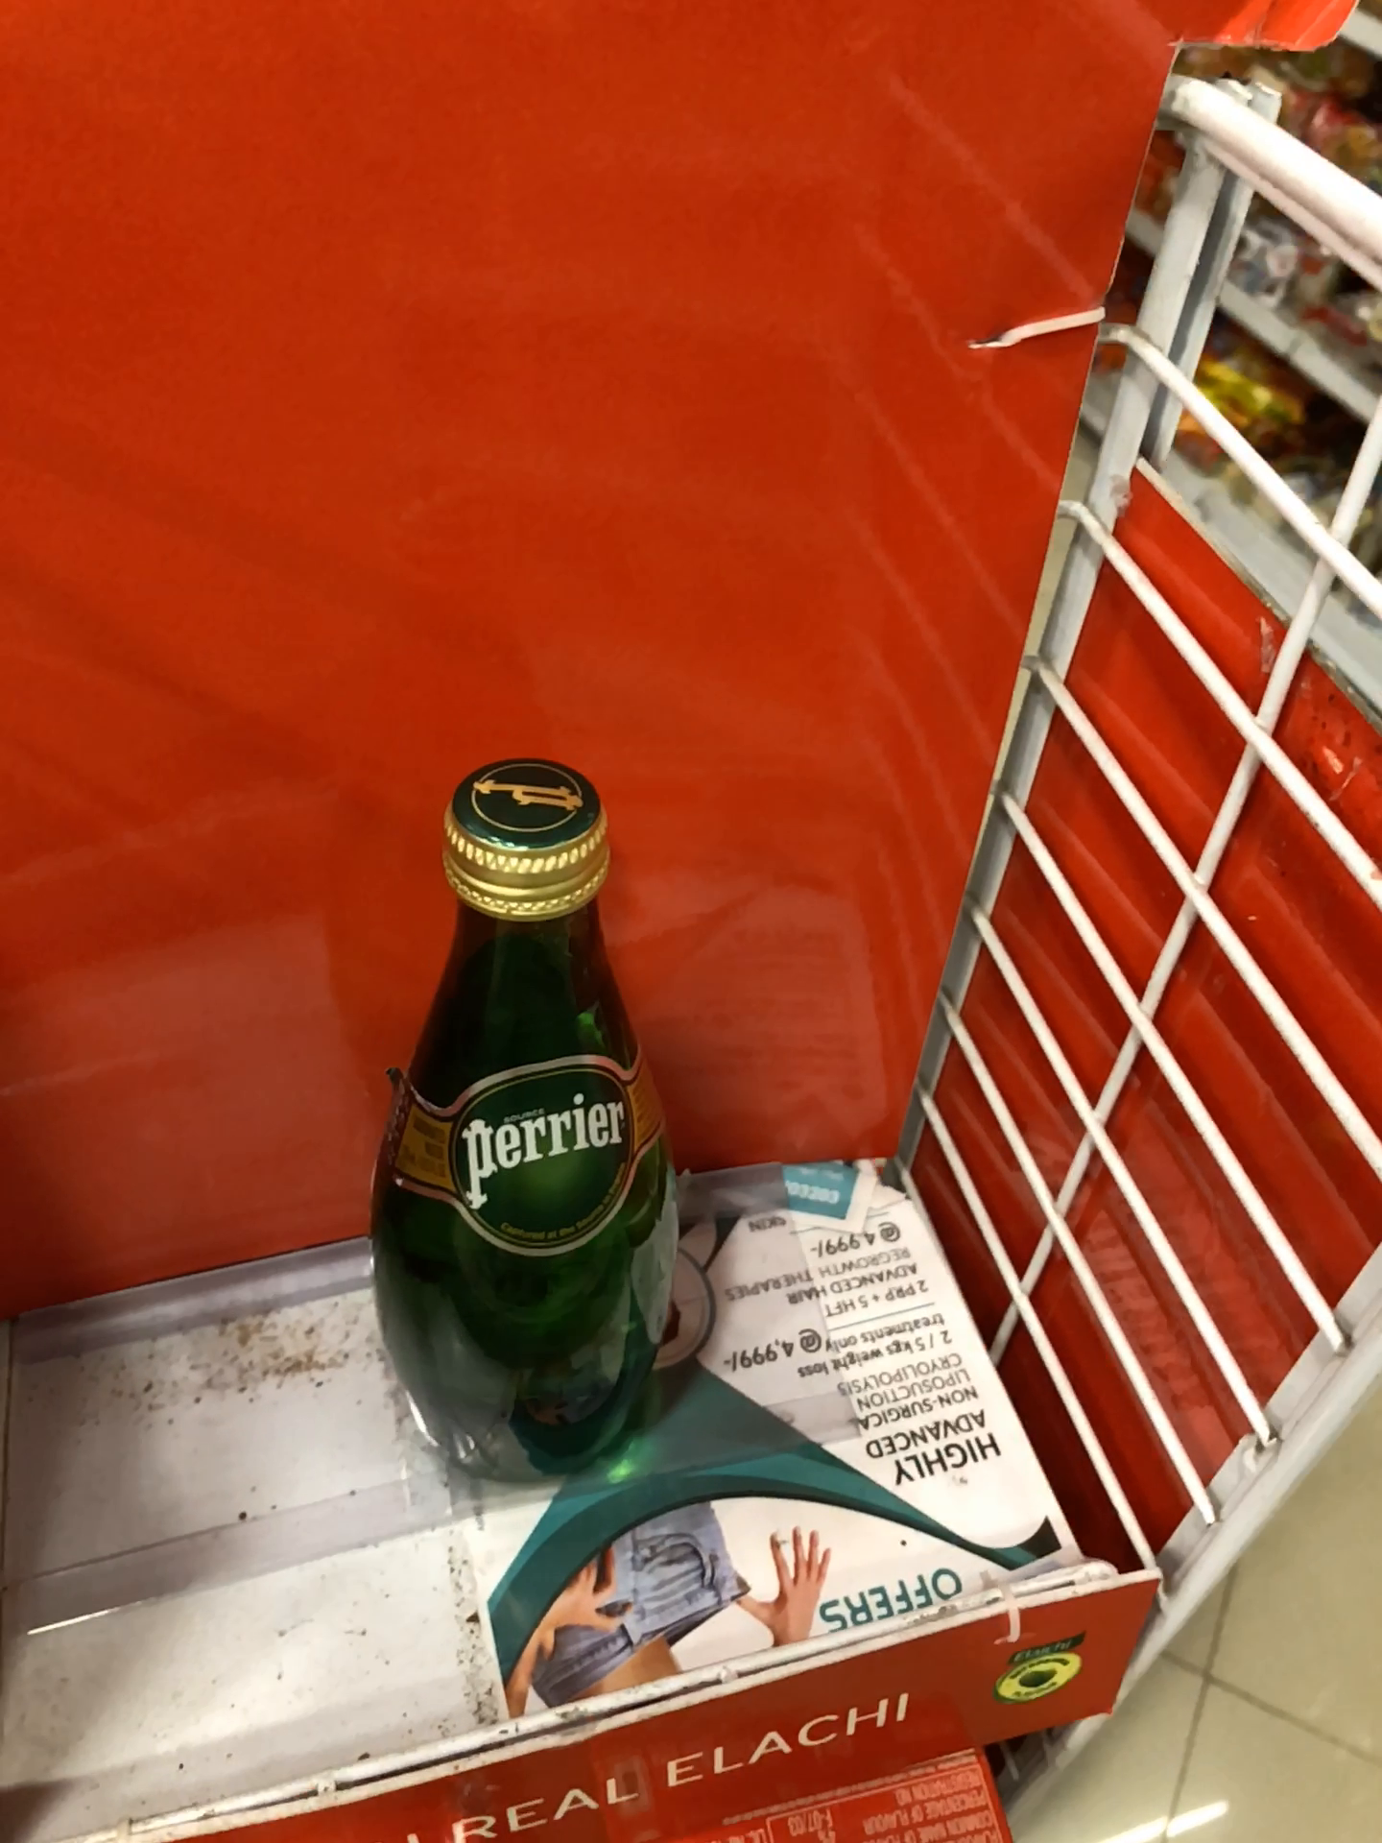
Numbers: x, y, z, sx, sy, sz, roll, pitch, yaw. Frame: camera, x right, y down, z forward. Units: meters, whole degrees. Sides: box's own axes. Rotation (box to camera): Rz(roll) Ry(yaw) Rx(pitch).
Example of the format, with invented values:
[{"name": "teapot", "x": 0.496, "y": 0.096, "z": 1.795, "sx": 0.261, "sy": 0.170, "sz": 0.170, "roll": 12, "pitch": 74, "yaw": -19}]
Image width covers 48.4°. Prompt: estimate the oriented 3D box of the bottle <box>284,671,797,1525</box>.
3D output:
[{"name": "bottle", "x": -0.032, "y": 0.045, "z": 0.309, "sx": 0.070, "sy": 0.179, "sz": 0.060, "roll": -9, "pitch": 47, "yaw": -15}]
